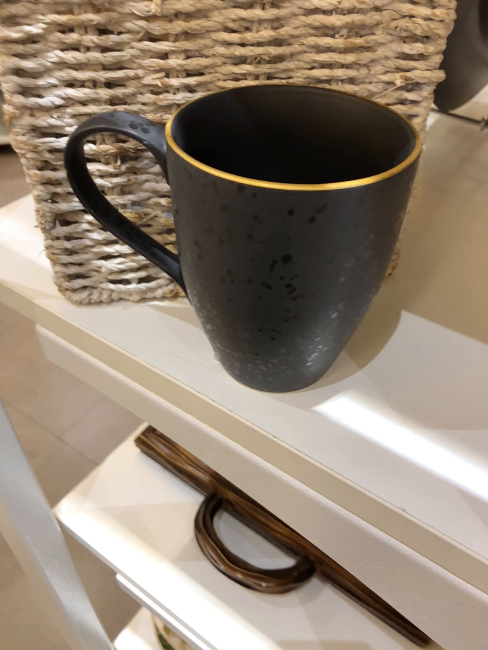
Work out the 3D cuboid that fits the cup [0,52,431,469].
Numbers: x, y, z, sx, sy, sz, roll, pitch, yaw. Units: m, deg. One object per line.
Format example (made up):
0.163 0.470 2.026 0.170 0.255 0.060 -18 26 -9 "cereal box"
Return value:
-0.011 -0.030 0.202 0.120 0.099 0.080 19 45 21 "cup"
